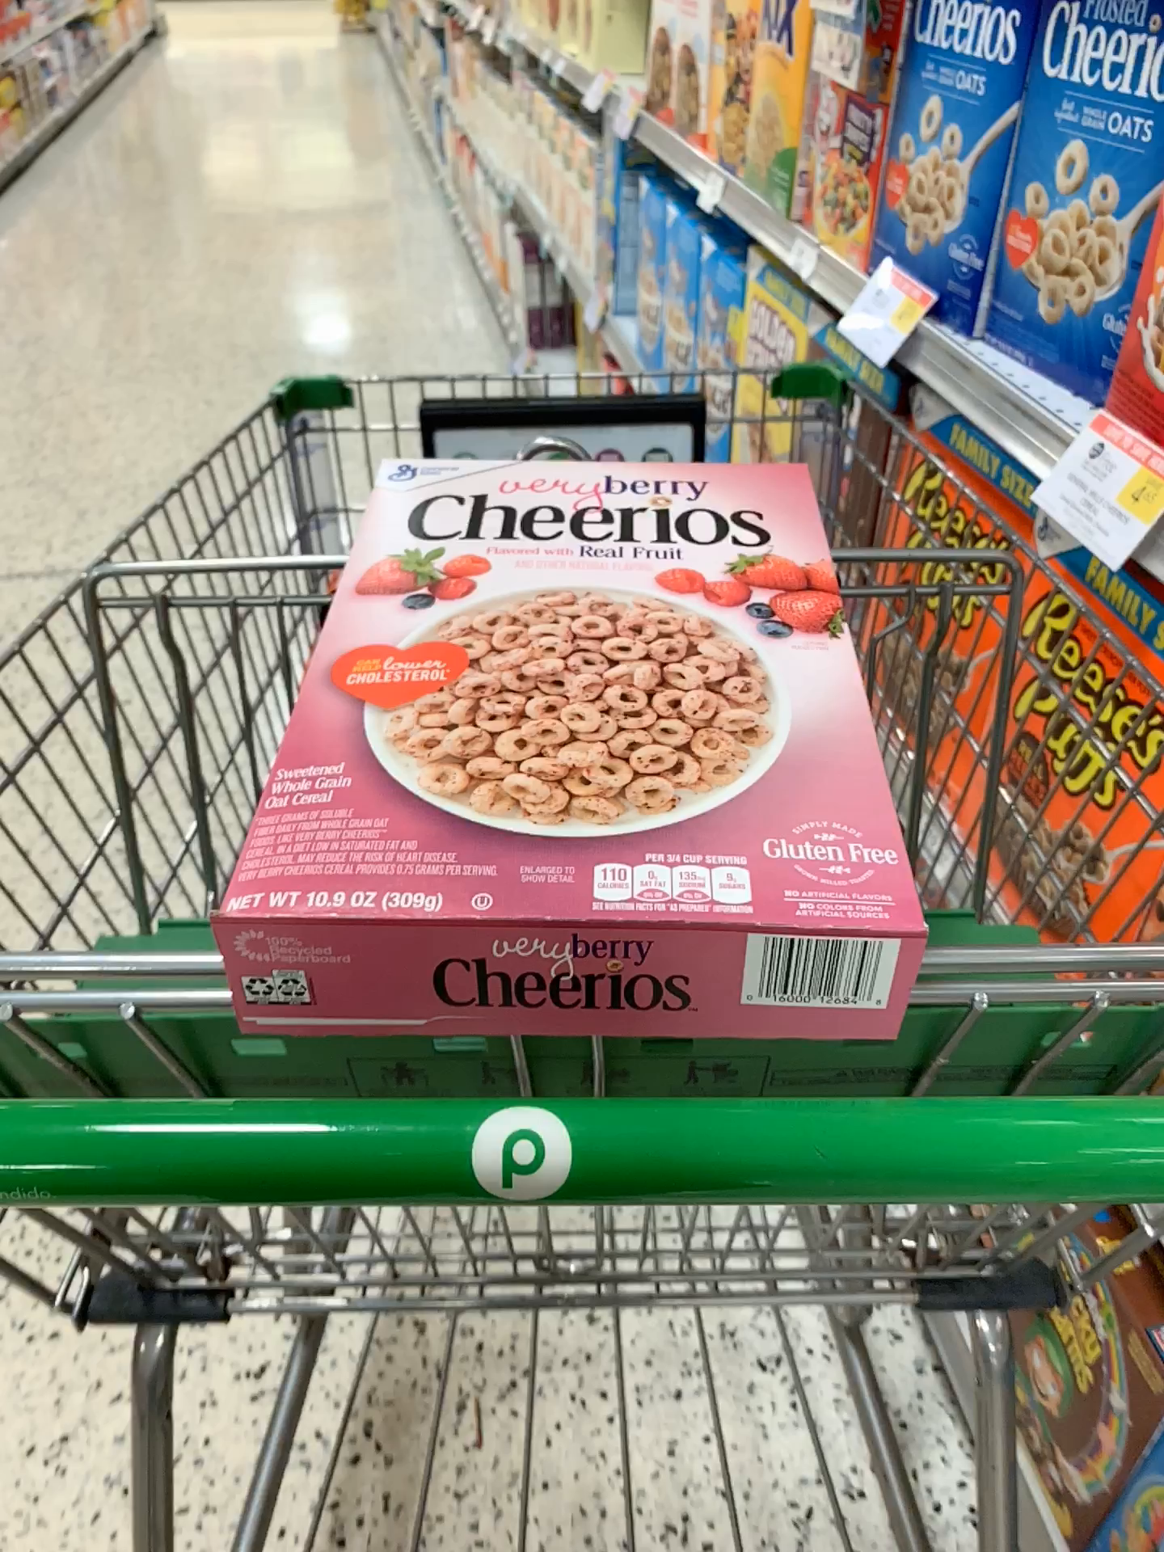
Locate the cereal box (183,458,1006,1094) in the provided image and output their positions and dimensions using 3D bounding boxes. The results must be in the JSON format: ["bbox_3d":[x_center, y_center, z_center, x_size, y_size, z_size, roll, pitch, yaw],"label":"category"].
[{"bbox_3d":[0.007,-0.024,0.436,0.210,0.059,0.283,1,40,2],"label":"cereal box"}]
